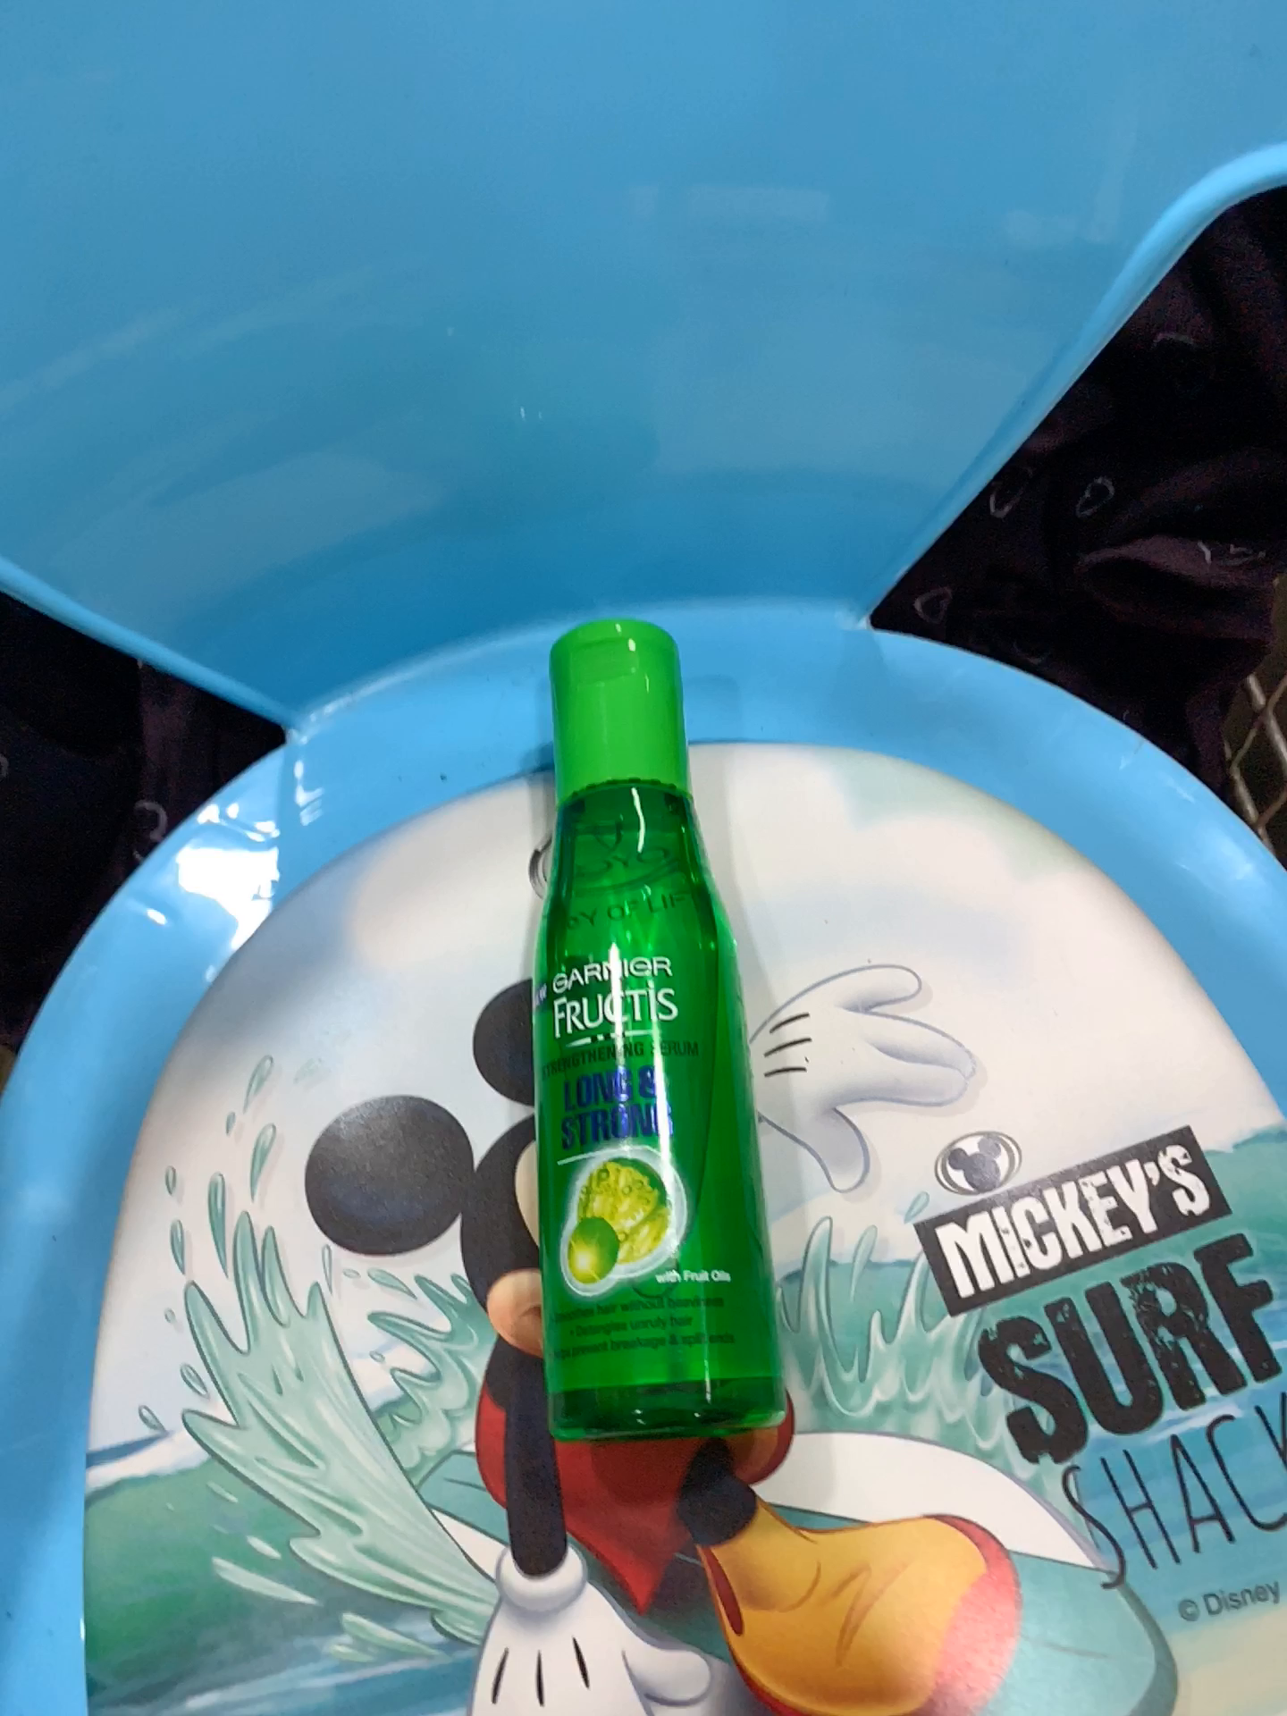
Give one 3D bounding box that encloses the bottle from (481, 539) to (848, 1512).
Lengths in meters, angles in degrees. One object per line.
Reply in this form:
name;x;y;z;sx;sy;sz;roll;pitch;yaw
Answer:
bottle;0.000;0.024;0.234;0.040;0.040;0.160;-16;60;22
